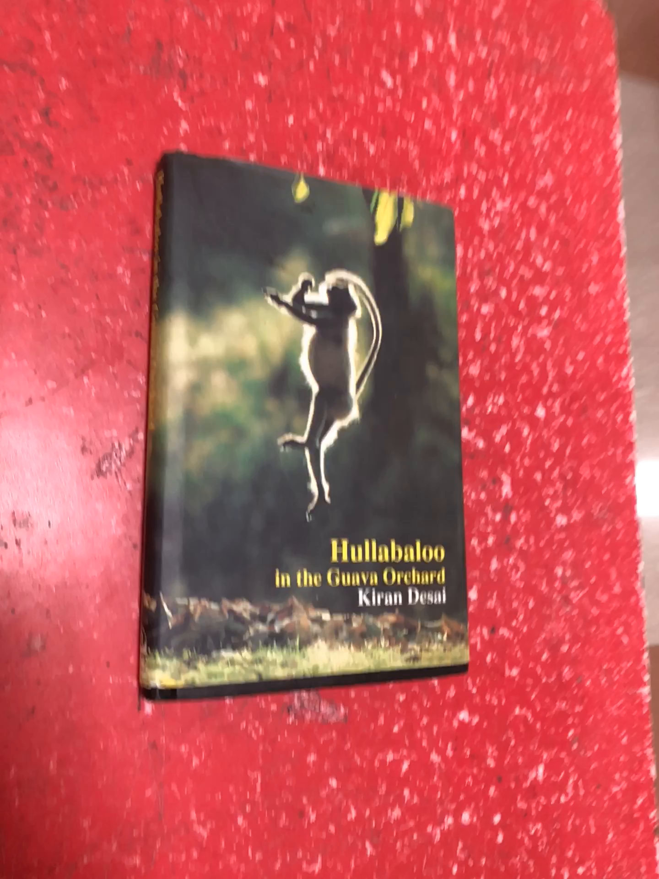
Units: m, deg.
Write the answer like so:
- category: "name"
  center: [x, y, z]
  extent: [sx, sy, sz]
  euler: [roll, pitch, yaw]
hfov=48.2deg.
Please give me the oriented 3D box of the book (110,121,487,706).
- category: "book"
  center: [-0.010, -0.011, 0.331]
  extent: [0.160, 0.030, 0.230]
  euler: [3, 80, -24]
